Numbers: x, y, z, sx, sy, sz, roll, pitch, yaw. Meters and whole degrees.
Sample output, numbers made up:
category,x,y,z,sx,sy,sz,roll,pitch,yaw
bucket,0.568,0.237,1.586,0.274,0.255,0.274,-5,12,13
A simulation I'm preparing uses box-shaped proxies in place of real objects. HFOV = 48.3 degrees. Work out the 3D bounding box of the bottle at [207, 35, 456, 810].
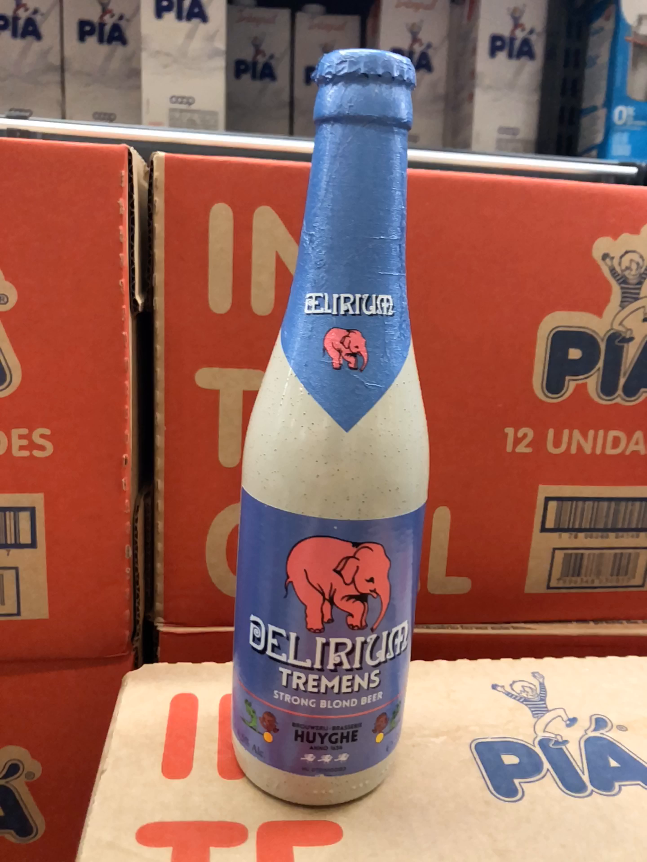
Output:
category,x,y,z,sx,sy,sz,roll,pitch,yaw
bottle,-0.002,0.003,0.233,0.060,0.219,0.060,3,10,0
